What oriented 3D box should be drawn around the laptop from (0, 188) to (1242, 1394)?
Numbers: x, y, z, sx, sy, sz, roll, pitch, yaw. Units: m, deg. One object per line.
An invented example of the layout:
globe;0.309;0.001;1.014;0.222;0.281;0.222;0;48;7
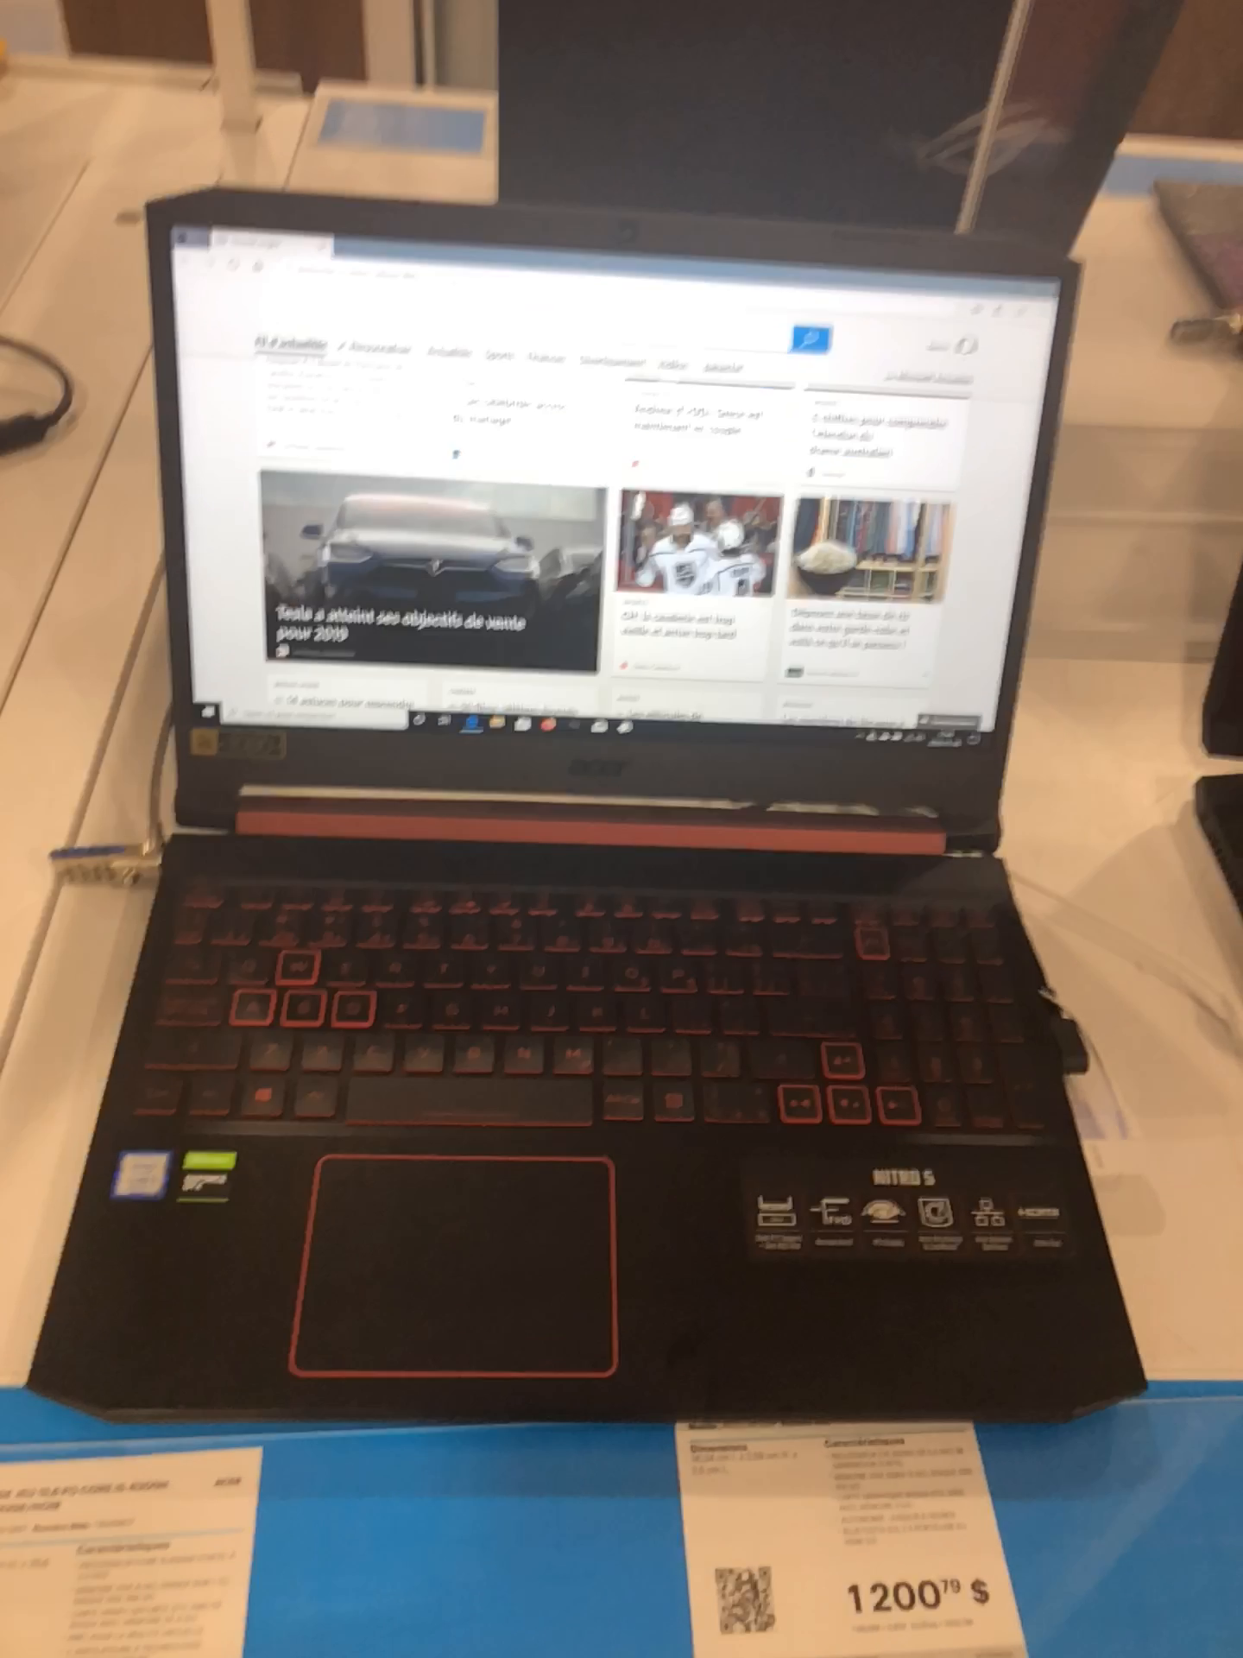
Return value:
laptop;0.000;-0.026;0.478;0.357;0.211;0.359;2;49;-4
